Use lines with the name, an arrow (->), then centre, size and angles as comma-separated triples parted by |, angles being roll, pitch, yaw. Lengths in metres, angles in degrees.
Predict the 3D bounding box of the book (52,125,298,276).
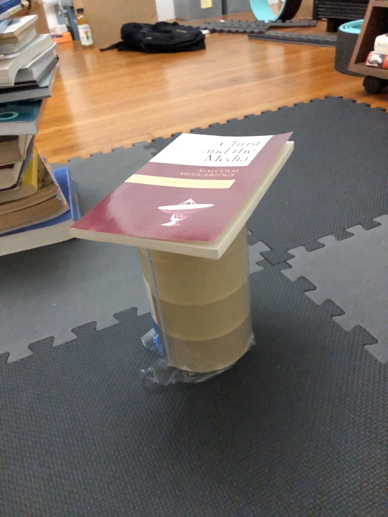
book -> -0.002, -0.068, 0.379 | 0.140, 0.020, 0.211 | 9, 39, 22
